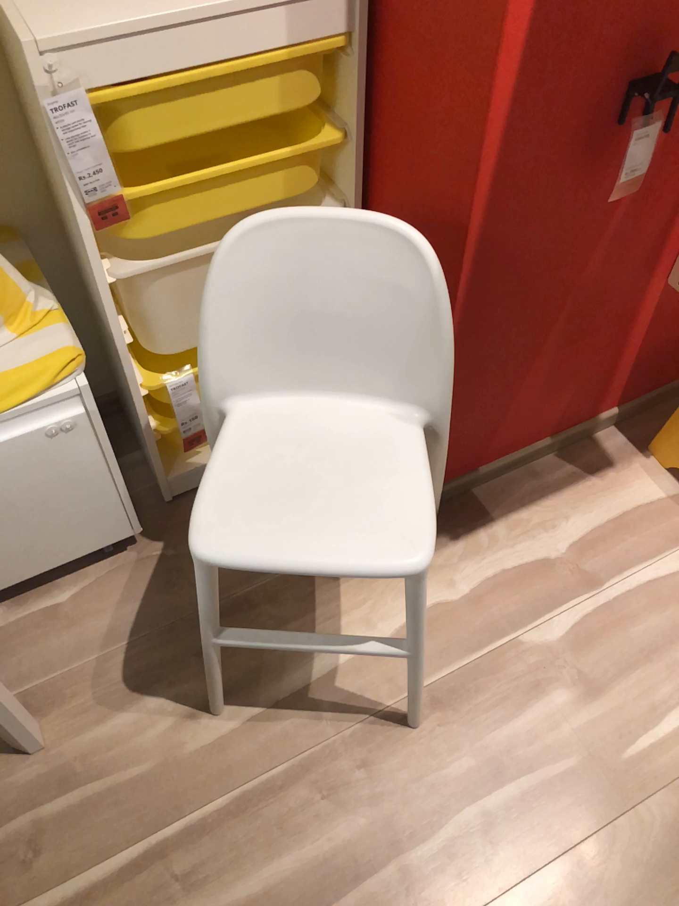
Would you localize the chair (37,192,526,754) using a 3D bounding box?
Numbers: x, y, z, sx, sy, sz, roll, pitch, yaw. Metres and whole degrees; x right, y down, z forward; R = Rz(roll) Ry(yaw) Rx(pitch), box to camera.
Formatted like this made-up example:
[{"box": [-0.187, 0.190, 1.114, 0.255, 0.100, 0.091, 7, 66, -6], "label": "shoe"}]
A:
[{"box": [-0.042, 0.084, 1.060, 0.420, 0.706, 0.463, 3, 55, 1], "label": "chair"}]
